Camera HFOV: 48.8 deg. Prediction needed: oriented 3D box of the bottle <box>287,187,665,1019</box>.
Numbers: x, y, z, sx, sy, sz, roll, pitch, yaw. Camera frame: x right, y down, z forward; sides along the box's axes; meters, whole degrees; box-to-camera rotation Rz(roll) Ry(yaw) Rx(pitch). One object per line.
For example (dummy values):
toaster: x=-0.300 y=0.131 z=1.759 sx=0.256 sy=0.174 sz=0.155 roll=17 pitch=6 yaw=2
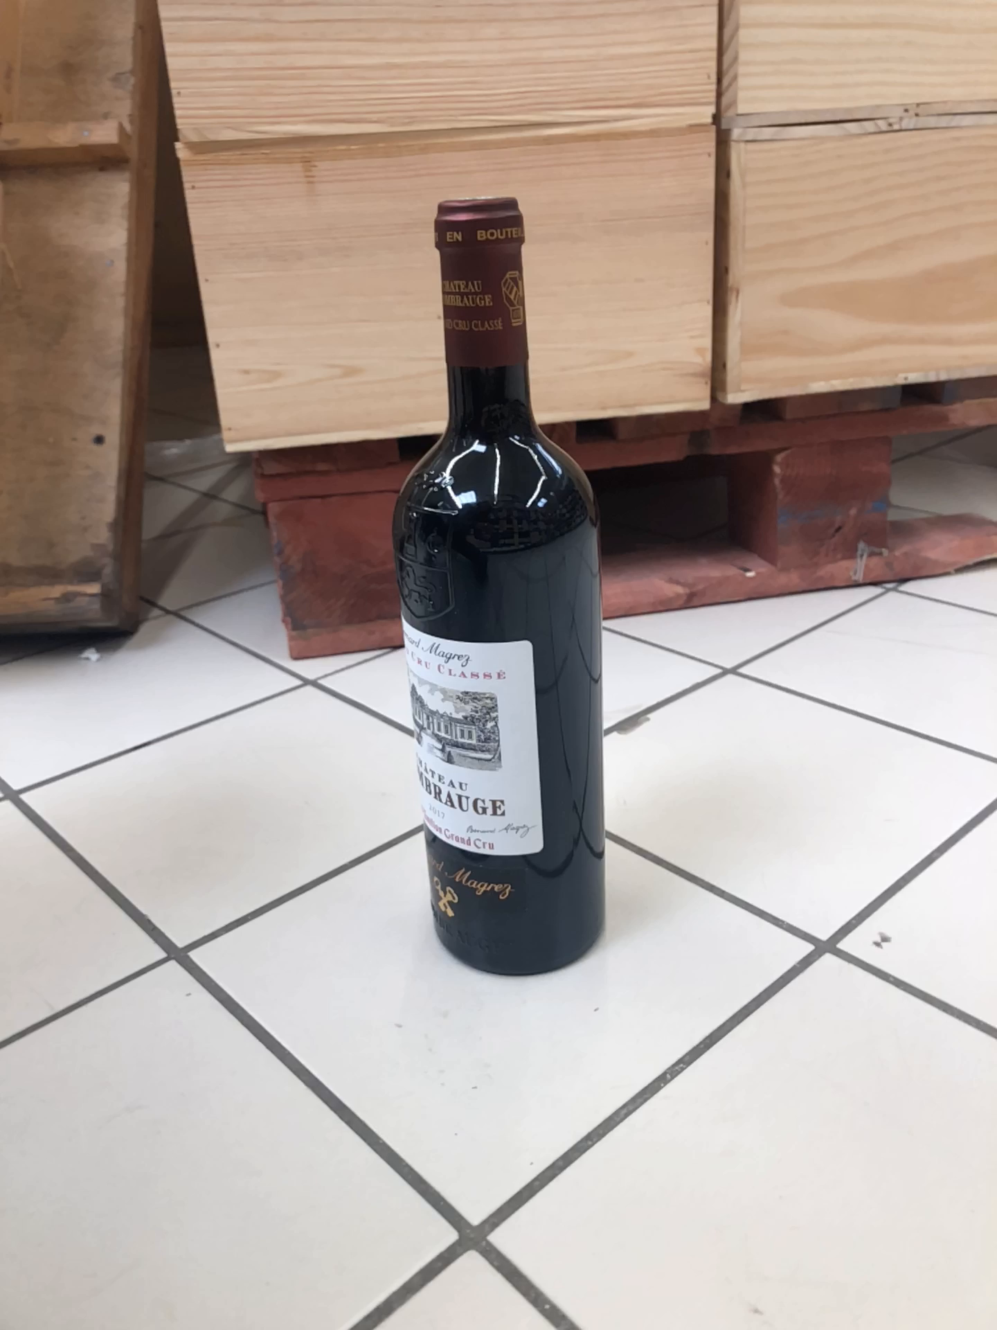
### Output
bottle: x=-0.002 y=-0.023 z=0.422 sx=0.090 sy=0.289 sz=0.090 roll=-3 pitch=23 yaw=1
